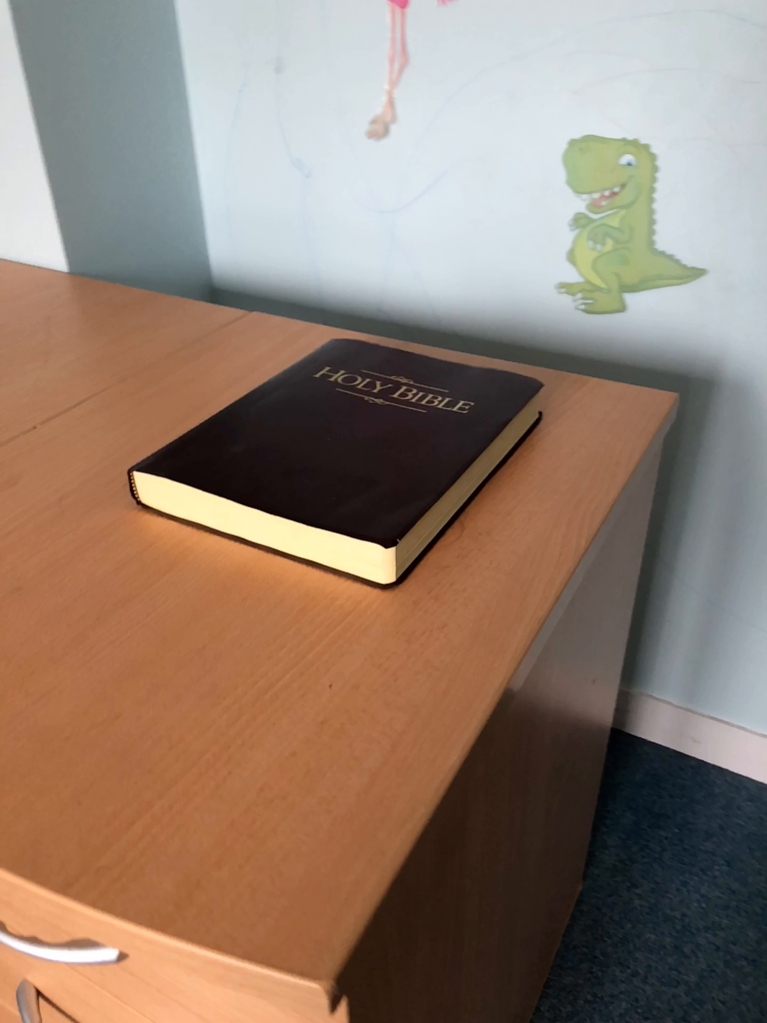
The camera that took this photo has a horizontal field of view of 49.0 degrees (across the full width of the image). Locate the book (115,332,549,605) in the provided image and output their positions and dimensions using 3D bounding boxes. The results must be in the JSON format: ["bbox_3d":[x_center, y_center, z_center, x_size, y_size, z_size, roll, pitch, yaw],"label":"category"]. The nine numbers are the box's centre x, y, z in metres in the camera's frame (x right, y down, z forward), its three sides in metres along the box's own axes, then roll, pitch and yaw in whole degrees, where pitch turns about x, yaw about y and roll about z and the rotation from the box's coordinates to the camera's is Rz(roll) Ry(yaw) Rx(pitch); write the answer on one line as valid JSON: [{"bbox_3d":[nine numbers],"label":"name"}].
[{"bbox_3d":[-0.025,-0.056,0.666,0.223,0.040,0.282,17,38,24],"label":"book"}]
